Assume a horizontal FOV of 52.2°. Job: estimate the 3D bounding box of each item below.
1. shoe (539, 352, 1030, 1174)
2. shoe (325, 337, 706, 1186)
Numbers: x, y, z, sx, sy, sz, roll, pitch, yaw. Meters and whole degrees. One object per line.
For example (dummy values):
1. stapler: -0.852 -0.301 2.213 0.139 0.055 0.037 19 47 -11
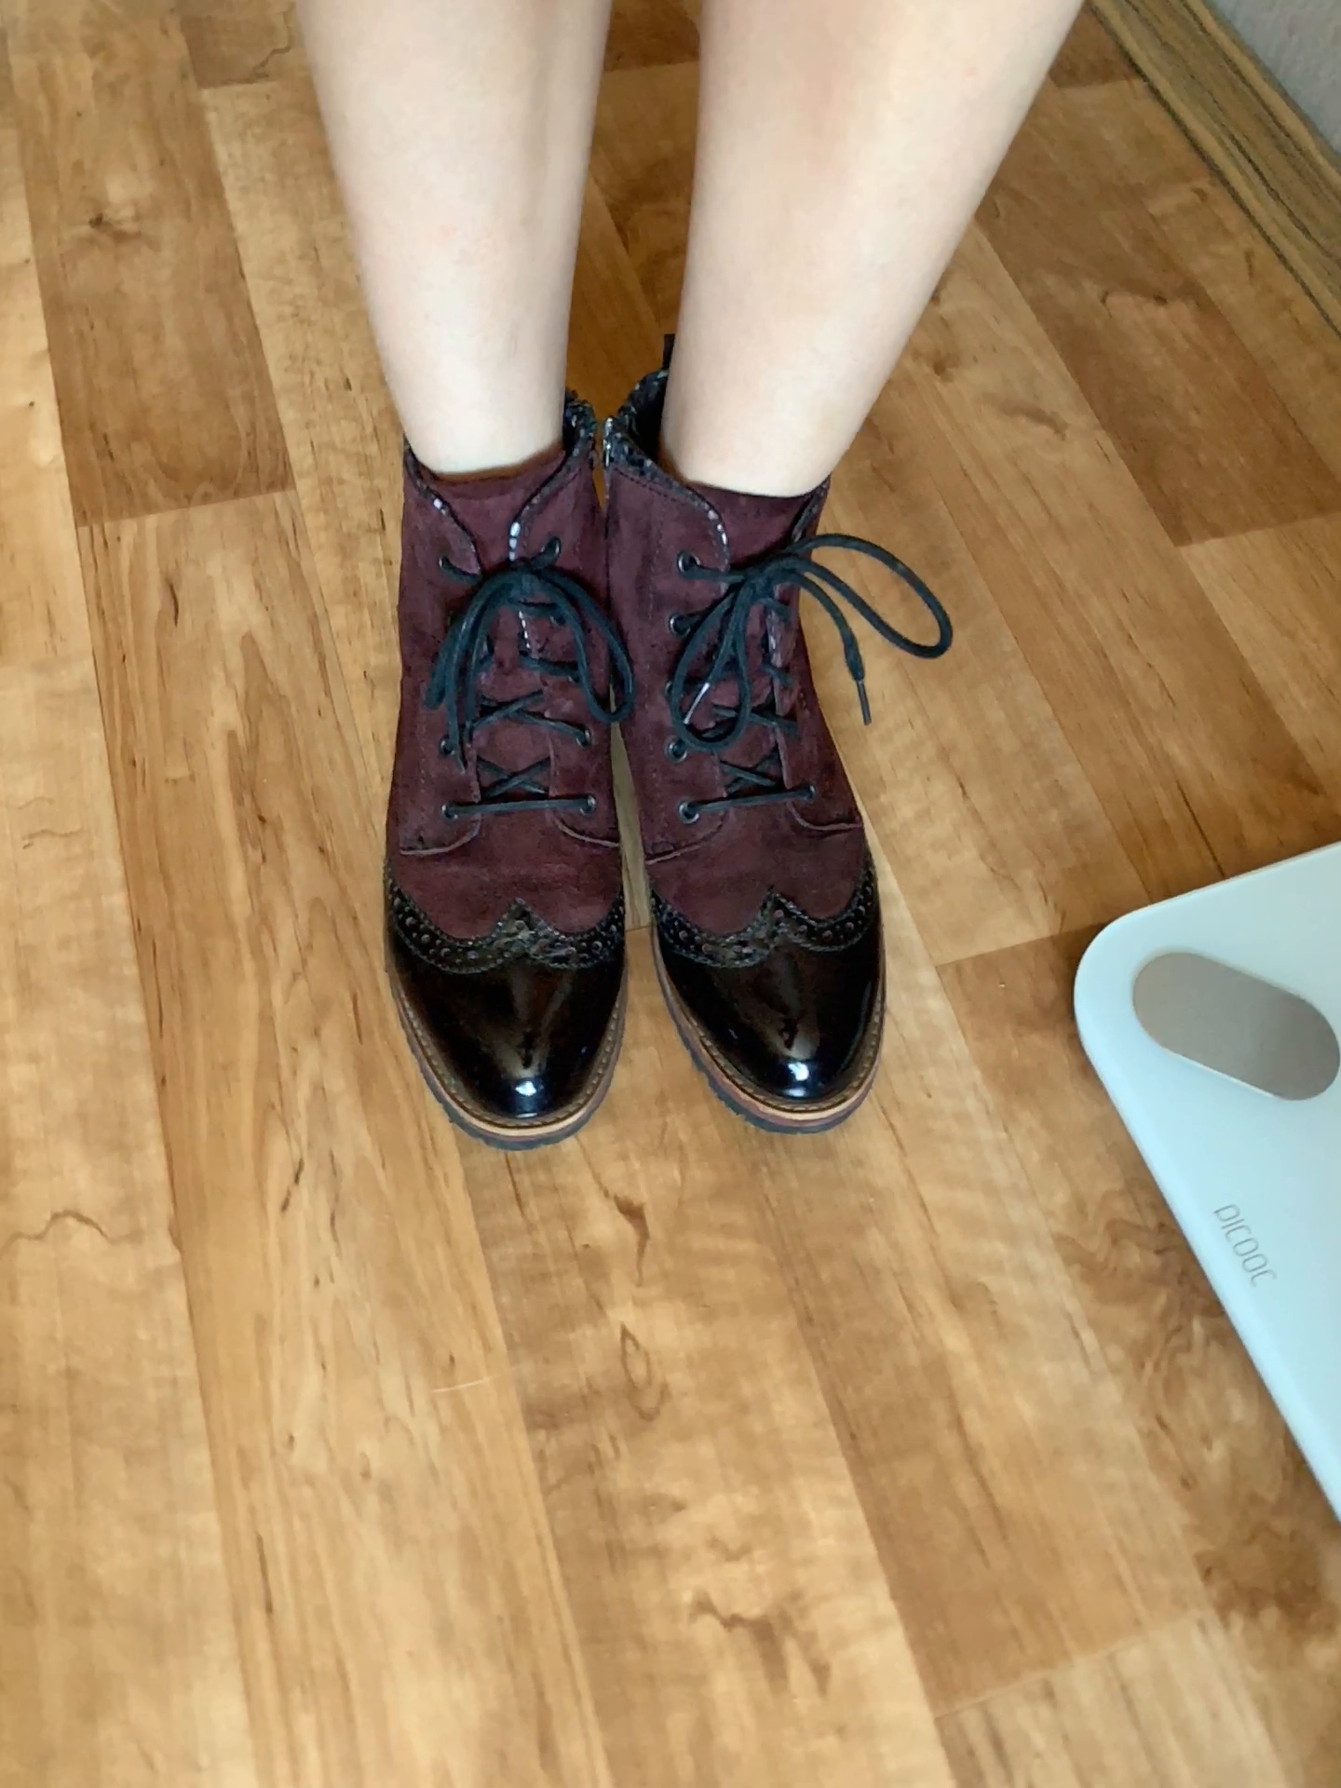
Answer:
1. shoe: 0.023 -0.051 0.509 0.100 0.140 0.260 -9 63 -10
2. shoe: -0.061 -0.049 0.483 0.100 0.140 0.260 -3 62 -7
